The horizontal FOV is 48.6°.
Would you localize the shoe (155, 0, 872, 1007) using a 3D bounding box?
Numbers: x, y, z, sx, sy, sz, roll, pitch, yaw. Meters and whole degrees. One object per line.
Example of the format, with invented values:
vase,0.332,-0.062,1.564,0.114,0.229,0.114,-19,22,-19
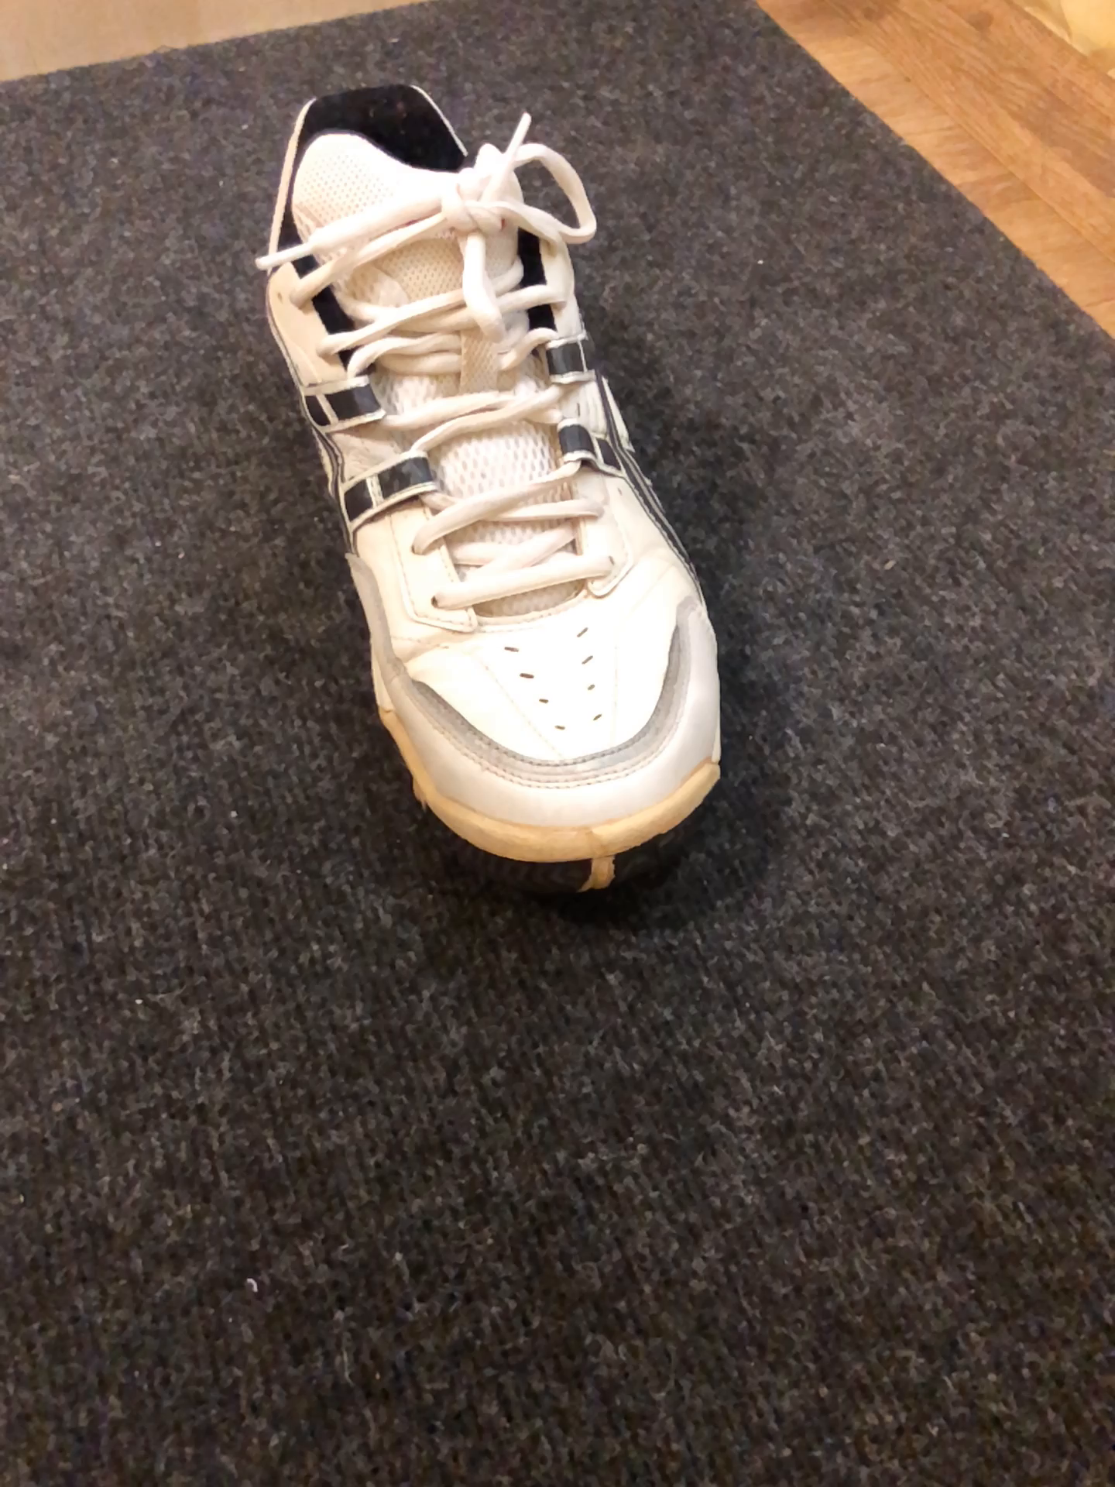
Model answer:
shoe,-0.032,-0.091,0.347,0.100,0.110,0.290,-14,54,-10
